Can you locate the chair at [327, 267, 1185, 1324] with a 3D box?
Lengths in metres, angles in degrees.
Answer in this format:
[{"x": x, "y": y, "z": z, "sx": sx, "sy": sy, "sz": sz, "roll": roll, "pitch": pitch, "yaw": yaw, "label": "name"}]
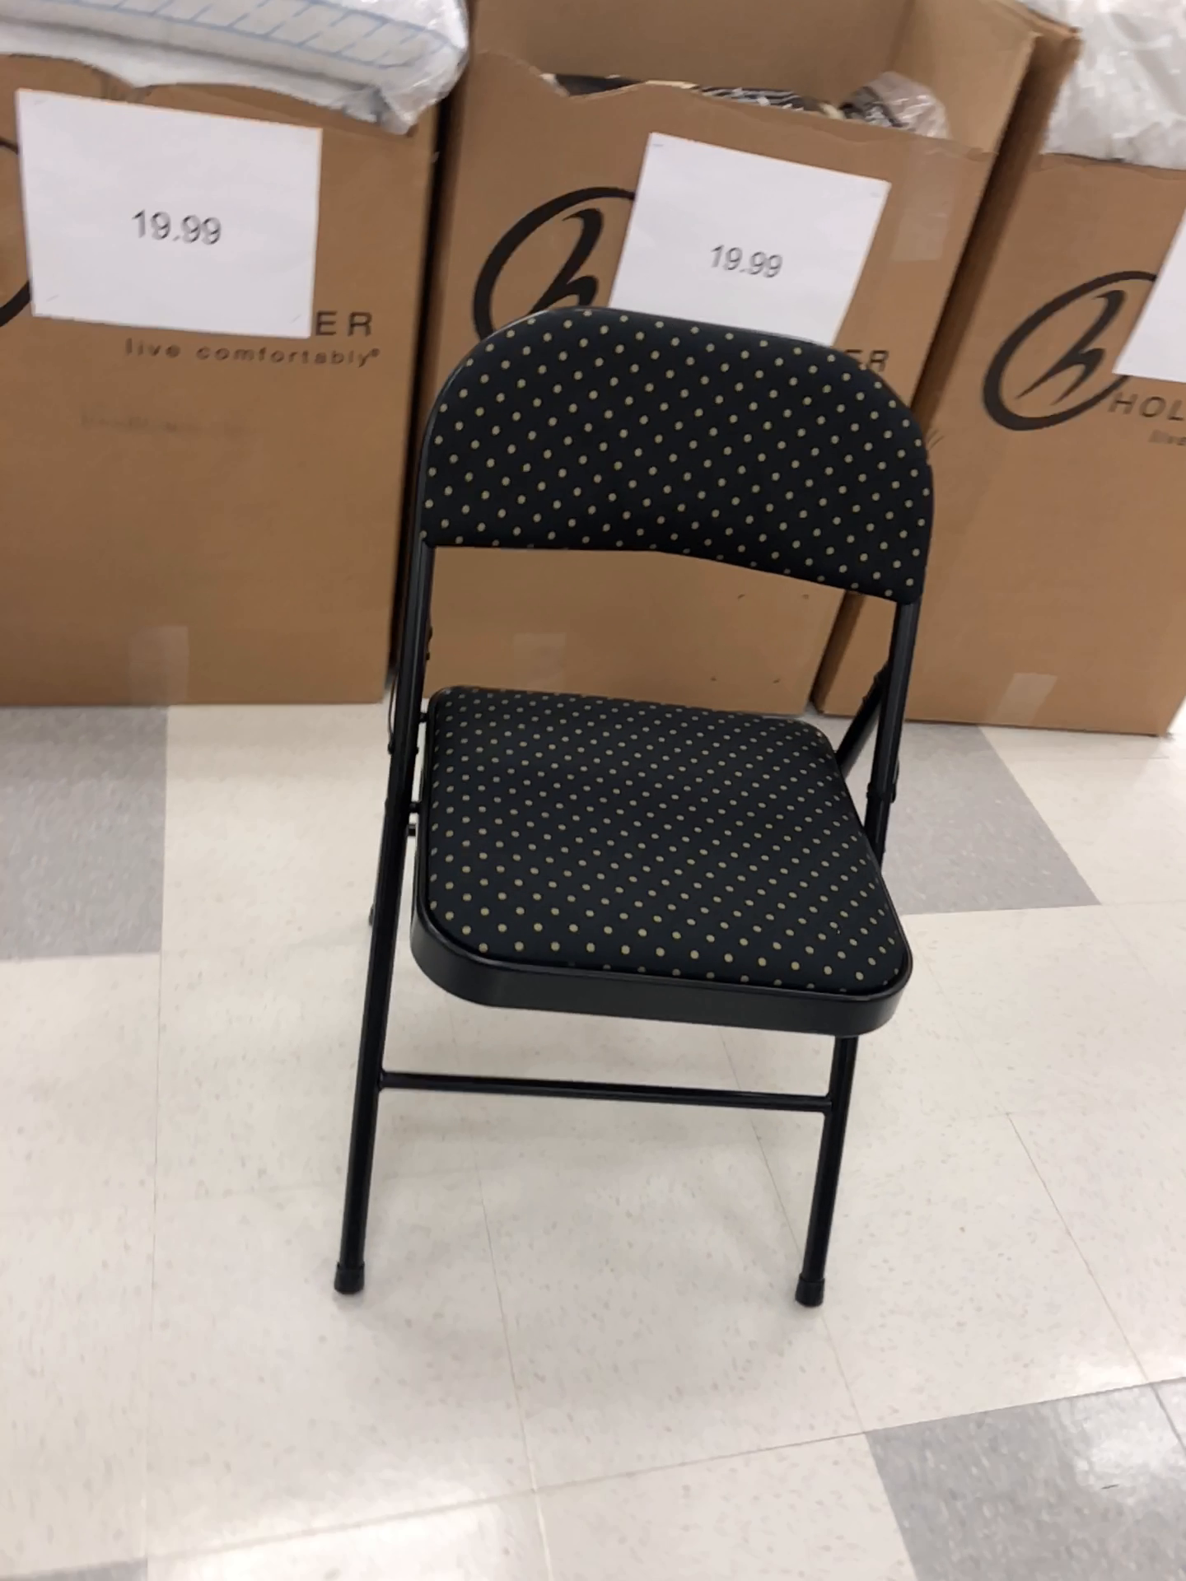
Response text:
[{"x": 0.046, "y": 0.034, "z": 1.154, "sx": 0.484, "sy": 0.728, "sz": 0.542, "roll": 5, "pitch": 41, "yaw": -9, "label": "chair"}]
